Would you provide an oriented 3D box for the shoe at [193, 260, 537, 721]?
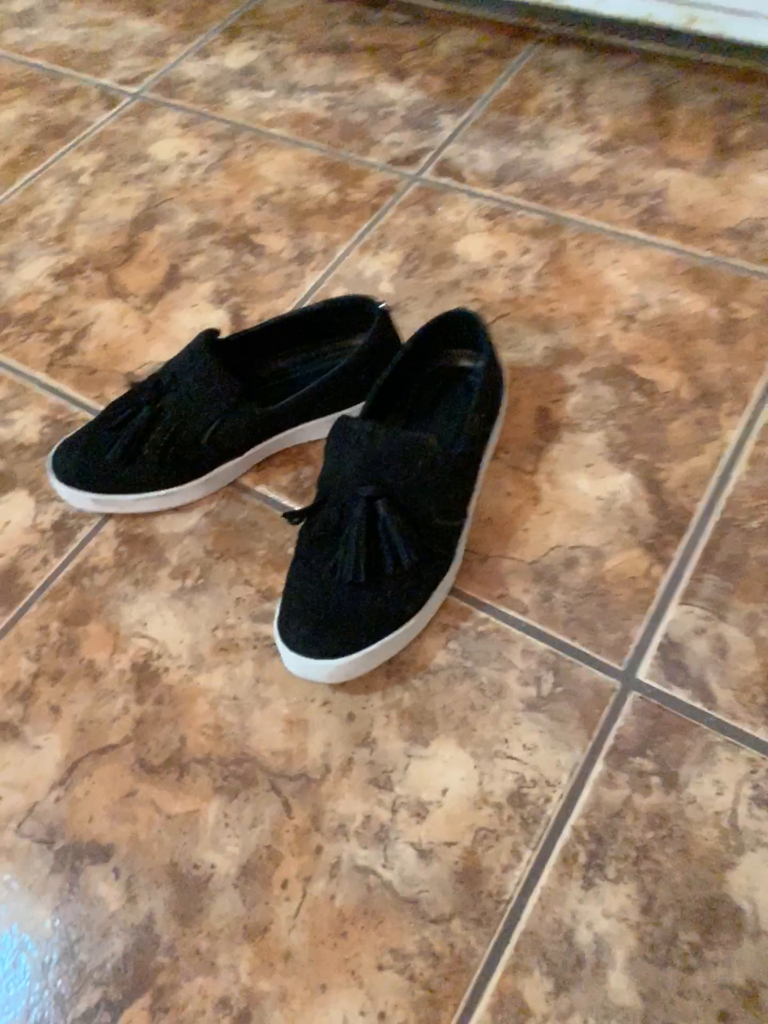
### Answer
[{"bbox_3d":[0.005,-0.023,0.461,0.097,0.094,0.250,16,59,17],"label":"shoe"}]

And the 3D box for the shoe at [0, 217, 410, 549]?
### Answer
[{"bbox_3d":[-0.119,-0.088,0.519,0.249,0.094,0.098,-24,57,-10],"label":"shoe"}]
